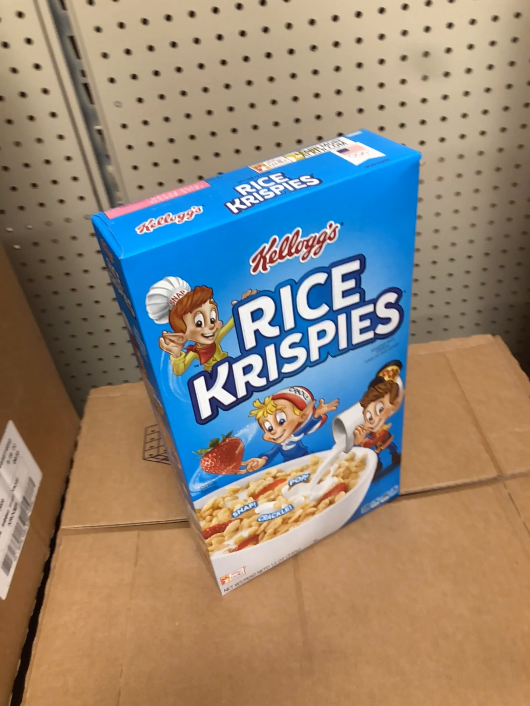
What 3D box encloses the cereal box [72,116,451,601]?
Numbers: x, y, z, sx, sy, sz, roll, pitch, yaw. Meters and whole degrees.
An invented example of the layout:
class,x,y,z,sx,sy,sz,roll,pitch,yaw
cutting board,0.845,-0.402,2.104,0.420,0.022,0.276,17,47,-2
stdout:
class,x,y,z,sx,sy,sz,roll,pitch,yaw
cereal box,0.018,0.025,0.442,0.210,0.329,0.070,-24,43,-18
